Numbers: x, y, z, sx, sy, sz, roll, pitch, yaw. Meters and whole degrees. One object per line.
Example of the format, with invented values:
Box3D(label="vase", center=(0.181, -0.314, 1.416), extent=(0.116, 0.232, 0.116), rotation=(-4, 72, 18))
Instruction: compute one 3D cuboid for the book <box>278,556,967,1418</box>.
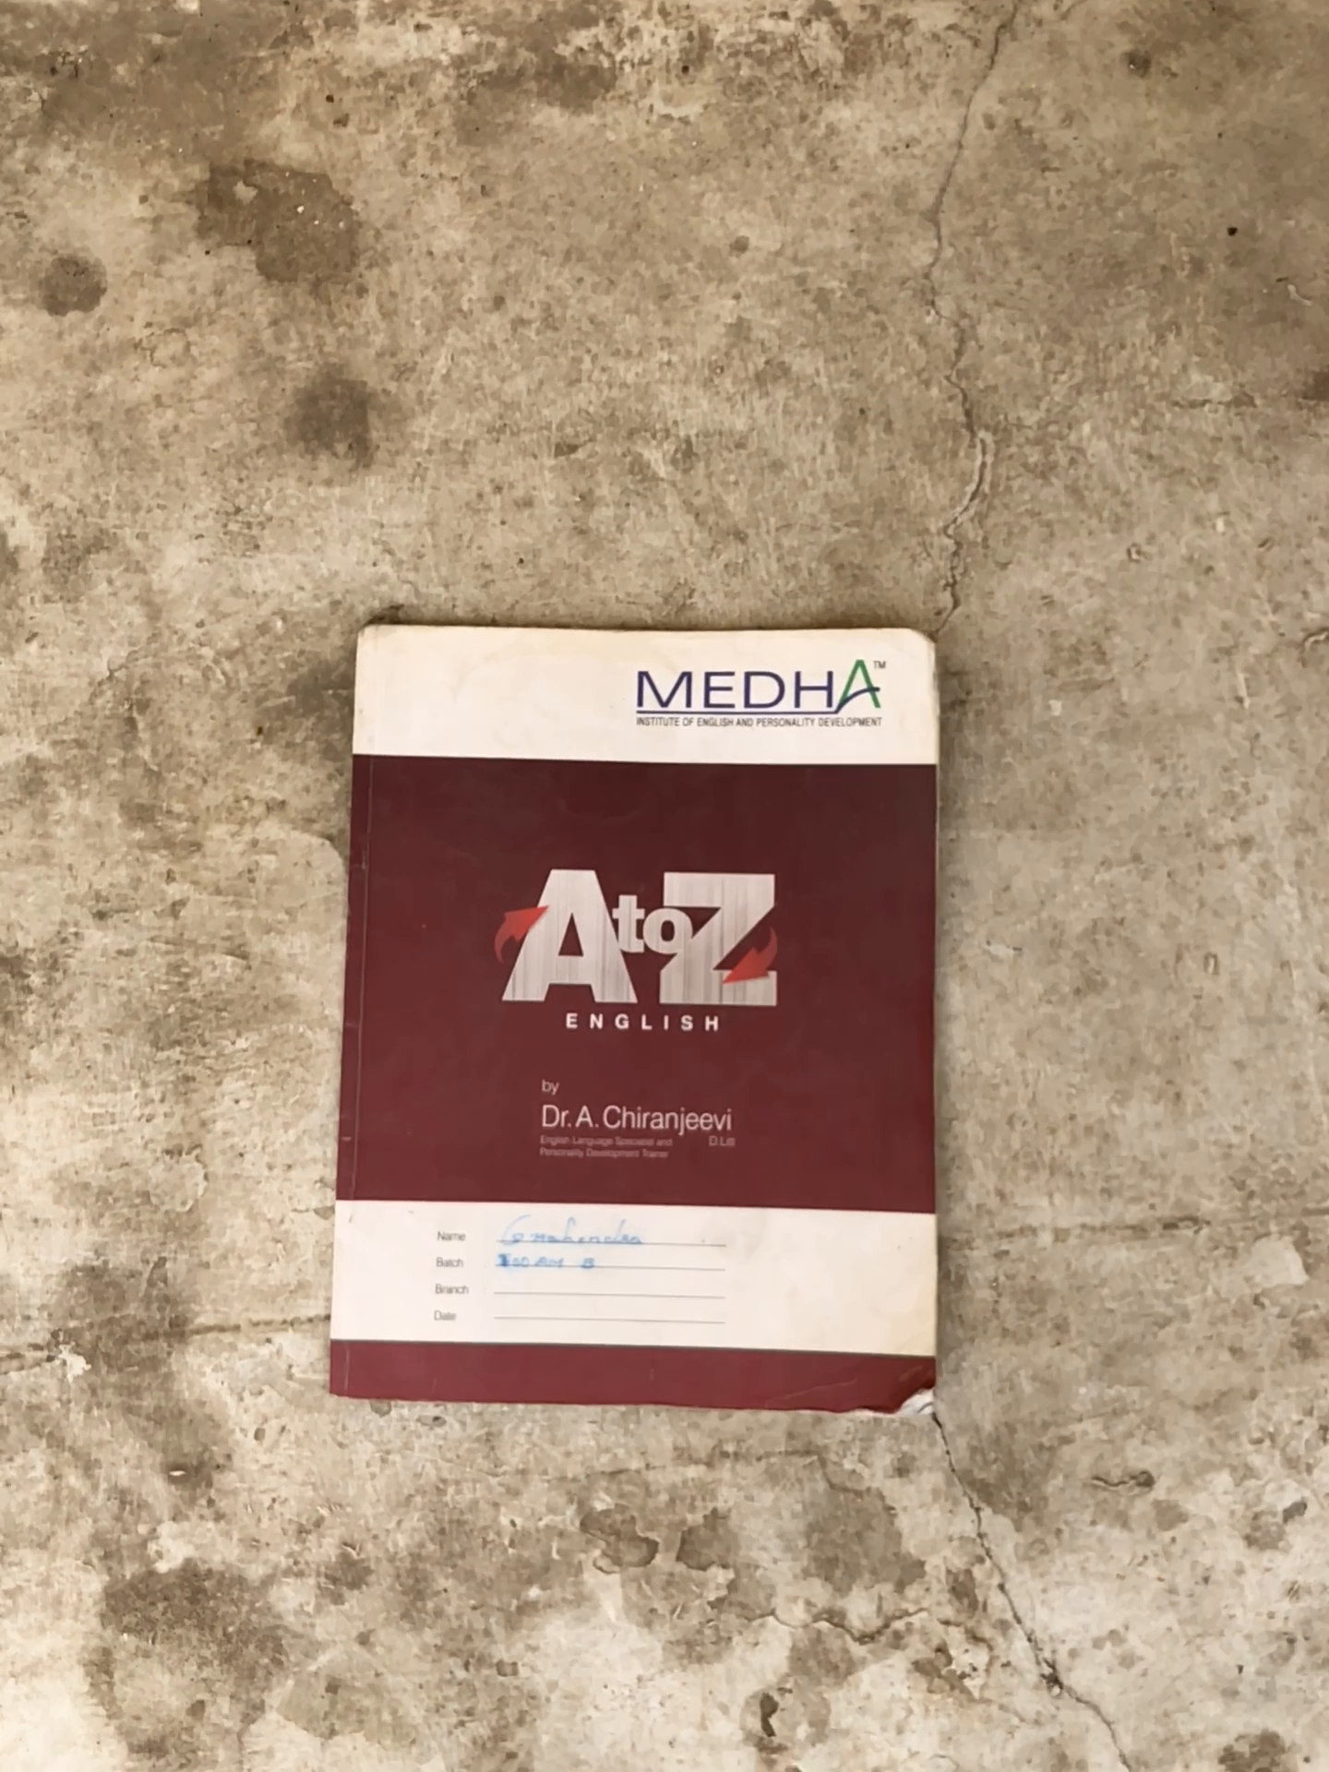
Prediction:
Box3D(label="book", center=(-0.011, 0.030, 0.502), extent=(0.220, 0.030, 0.280), rotation=(1, 84, 1))
